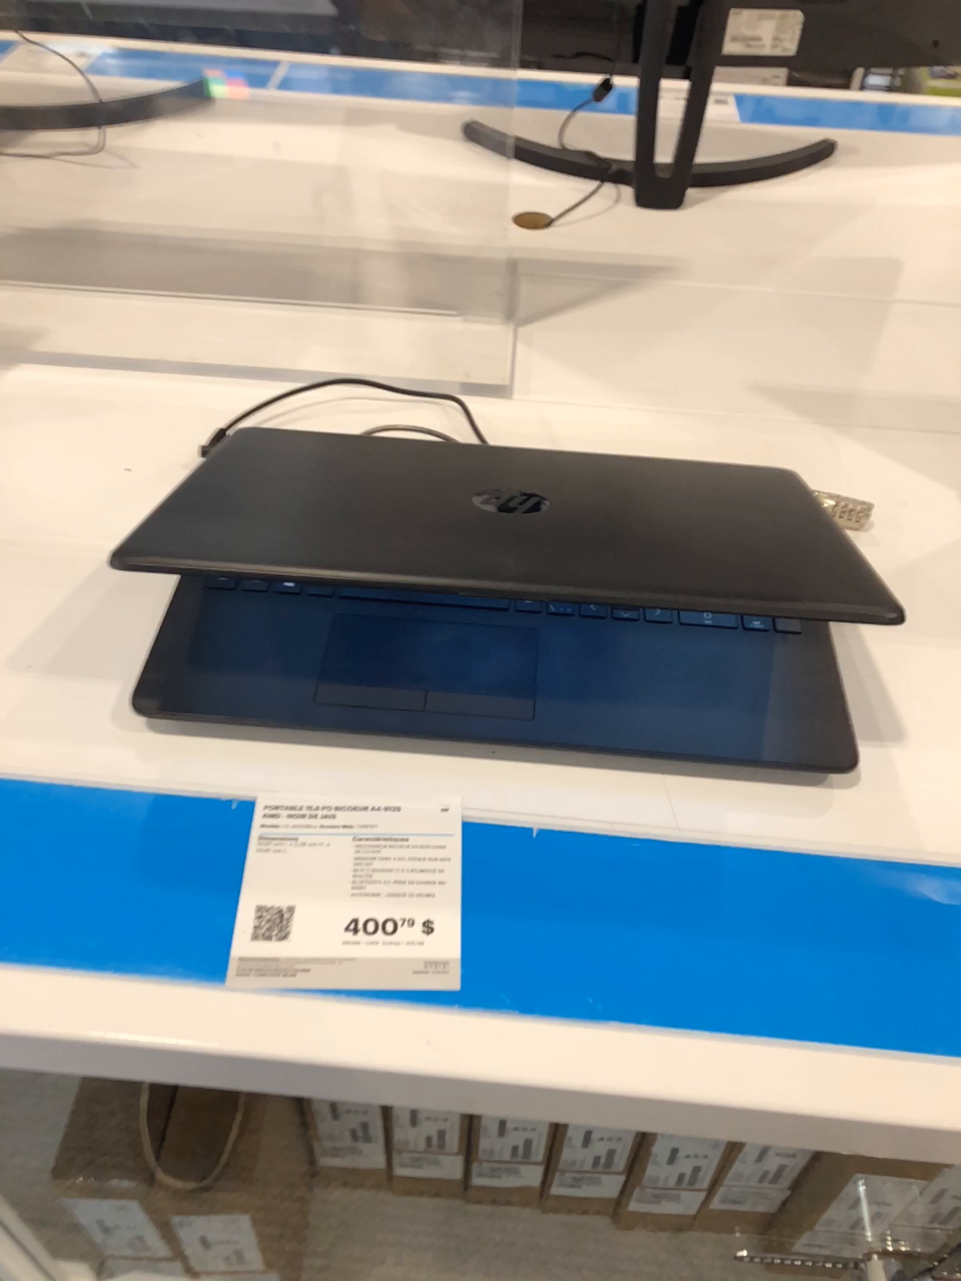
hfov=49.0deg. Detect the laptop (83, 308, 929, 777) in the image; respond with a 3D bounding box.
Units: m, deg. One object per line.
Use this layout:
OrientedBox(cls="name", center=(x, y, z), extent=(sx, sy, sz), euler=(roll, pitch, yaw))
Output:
OrientedBox(cls="laptop", center=(0.021, -0.062, 0.569), extent=(0.365, 0.091, 0.236), euler=(5, 45, -2))
